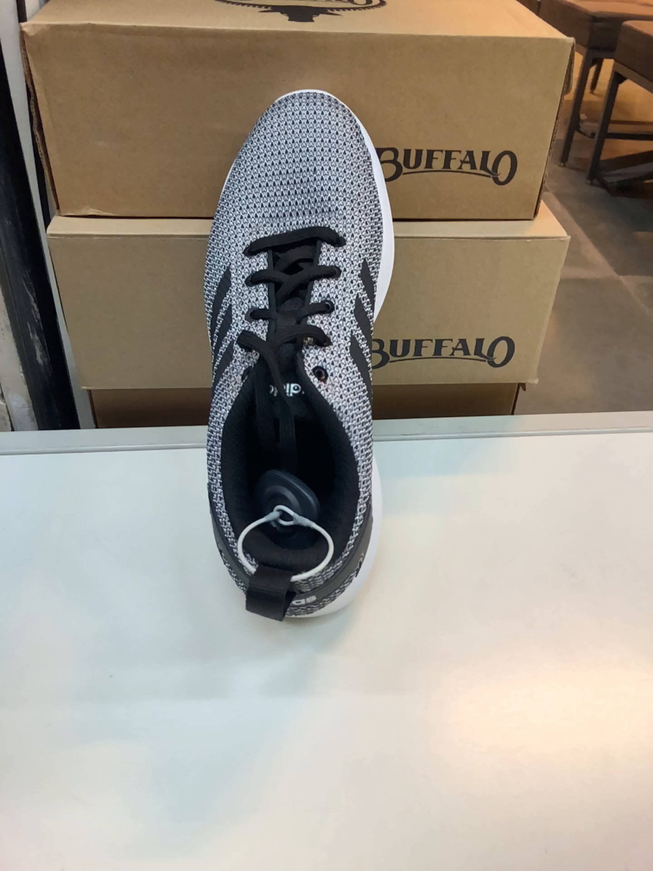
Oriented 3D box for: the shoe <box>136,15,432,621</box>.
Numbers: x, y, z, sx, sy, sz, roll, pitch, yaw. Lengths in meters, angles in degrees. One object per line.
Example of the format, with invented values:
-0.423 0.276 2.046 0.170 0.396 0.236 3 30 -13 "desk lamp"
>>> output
-0.015 -0.055 0.360 0.112 0.098 0.283 -1 73 2 "shoe"
